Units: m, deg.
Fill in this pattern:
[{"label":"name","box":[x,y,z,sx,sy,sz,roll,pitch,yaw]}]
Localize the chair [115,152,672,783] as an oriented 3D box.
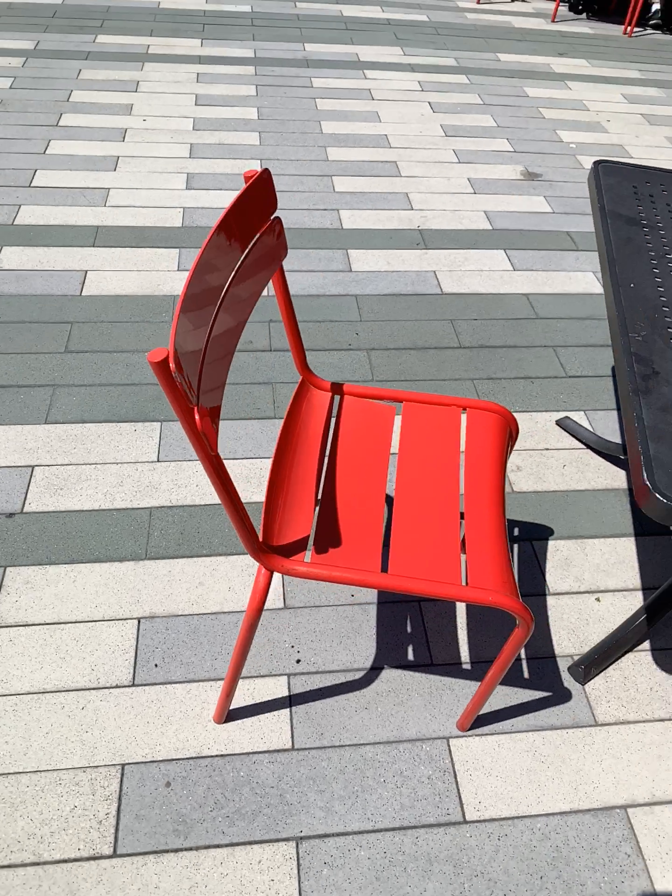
[{"label":"chair","box":[0.071,0.077,1.164,0.580,0.846,0.583,8,46,1]}]
